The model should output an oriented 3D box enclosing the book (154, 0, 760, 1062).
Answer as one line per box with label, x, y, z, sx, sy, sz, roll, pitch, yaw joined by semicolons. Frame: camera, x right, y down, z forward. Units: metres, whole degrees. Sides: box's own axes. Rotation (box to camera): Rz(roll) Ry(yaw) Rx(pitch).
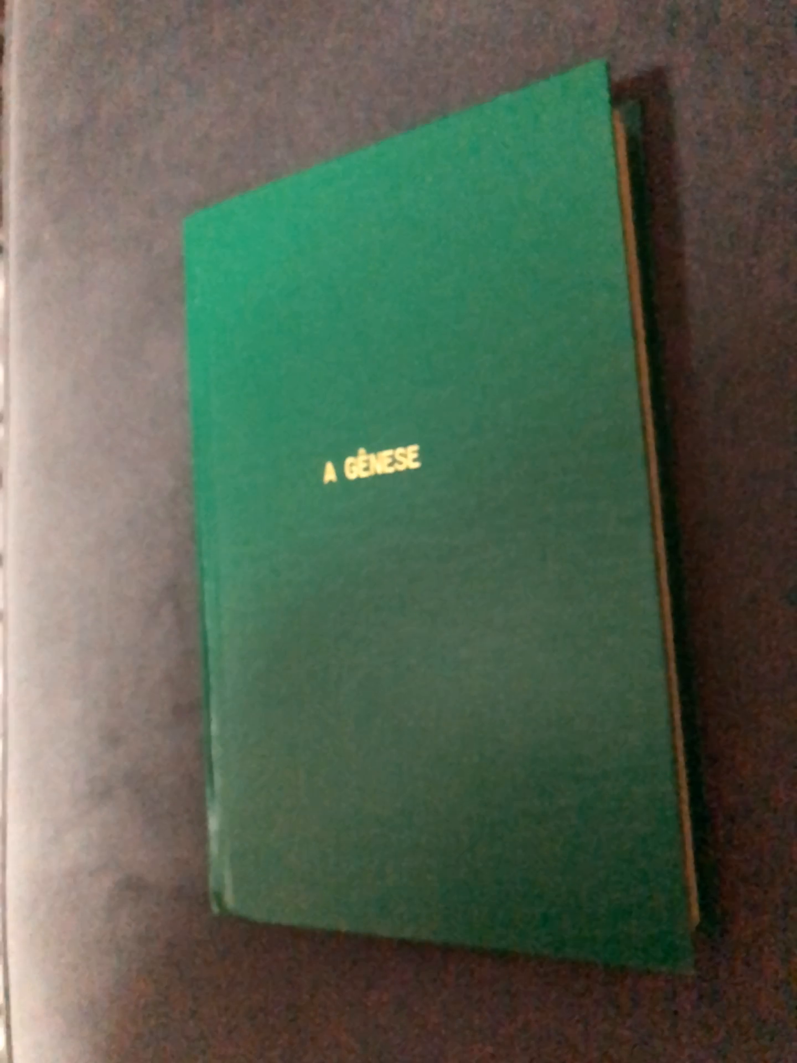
book;0.005;0.000;0.252;0.150;0.040;0.240;-8;82;30
